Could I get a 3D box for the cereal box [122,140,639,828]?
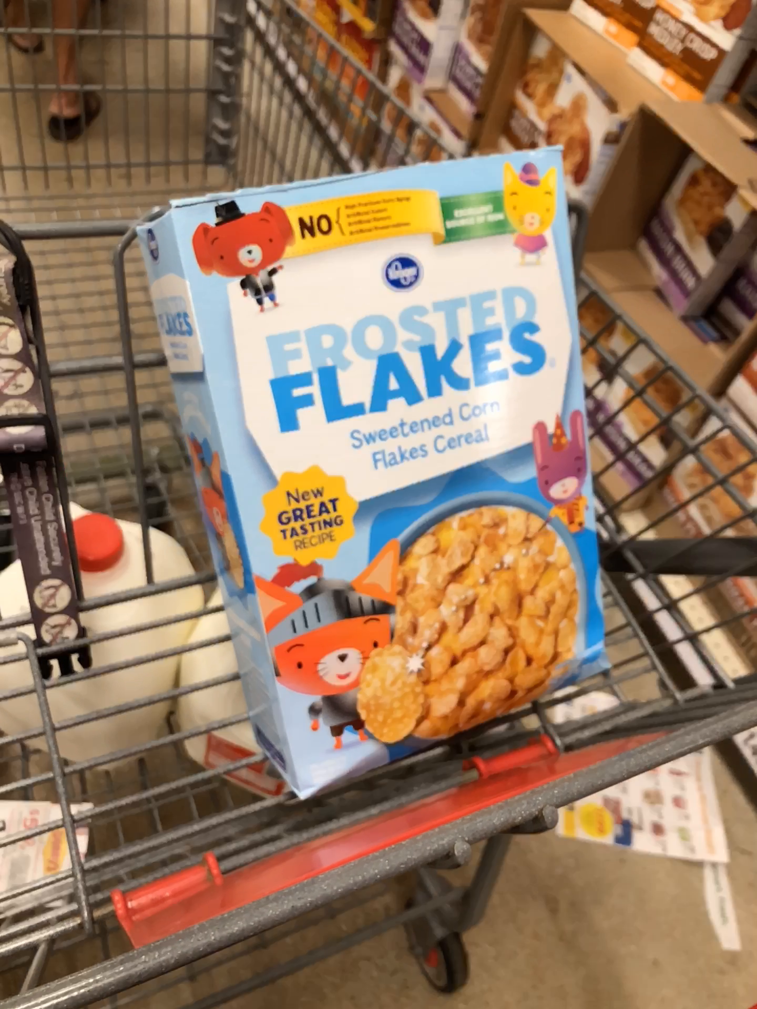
[{"bbox_3d":[0.015,-0.019,0.412,0.200,0.270,0.070,-17,16,-26],"label":"cereal box"}]
